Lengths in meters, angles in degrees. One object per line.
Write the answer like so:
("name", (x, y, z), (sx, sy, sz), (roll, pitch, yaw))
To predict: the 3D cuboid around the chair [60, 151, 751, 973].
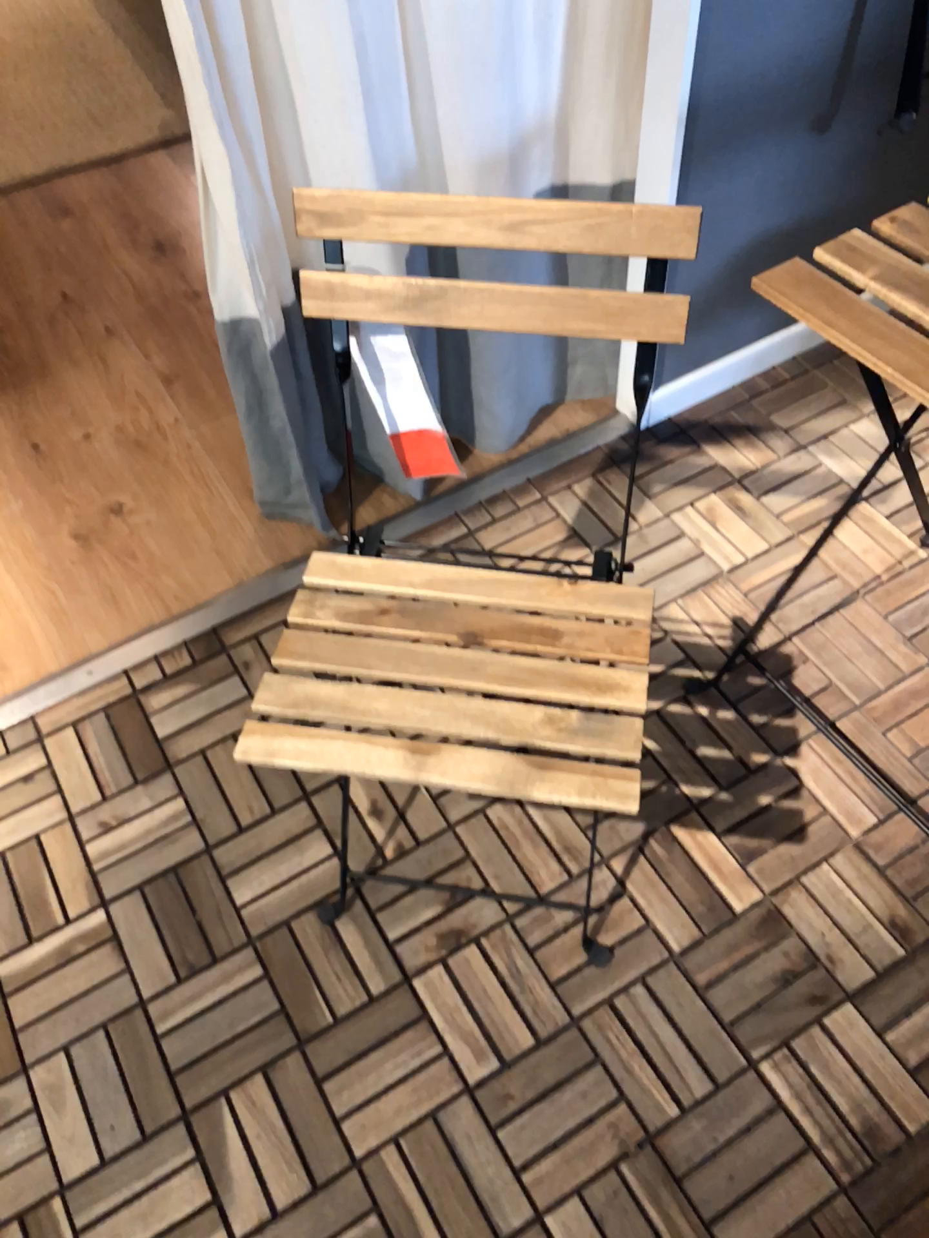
("chair", (0.006, -0.004, 1.038), (0.430, 0.726, 0.432), (6, 54, 8))
